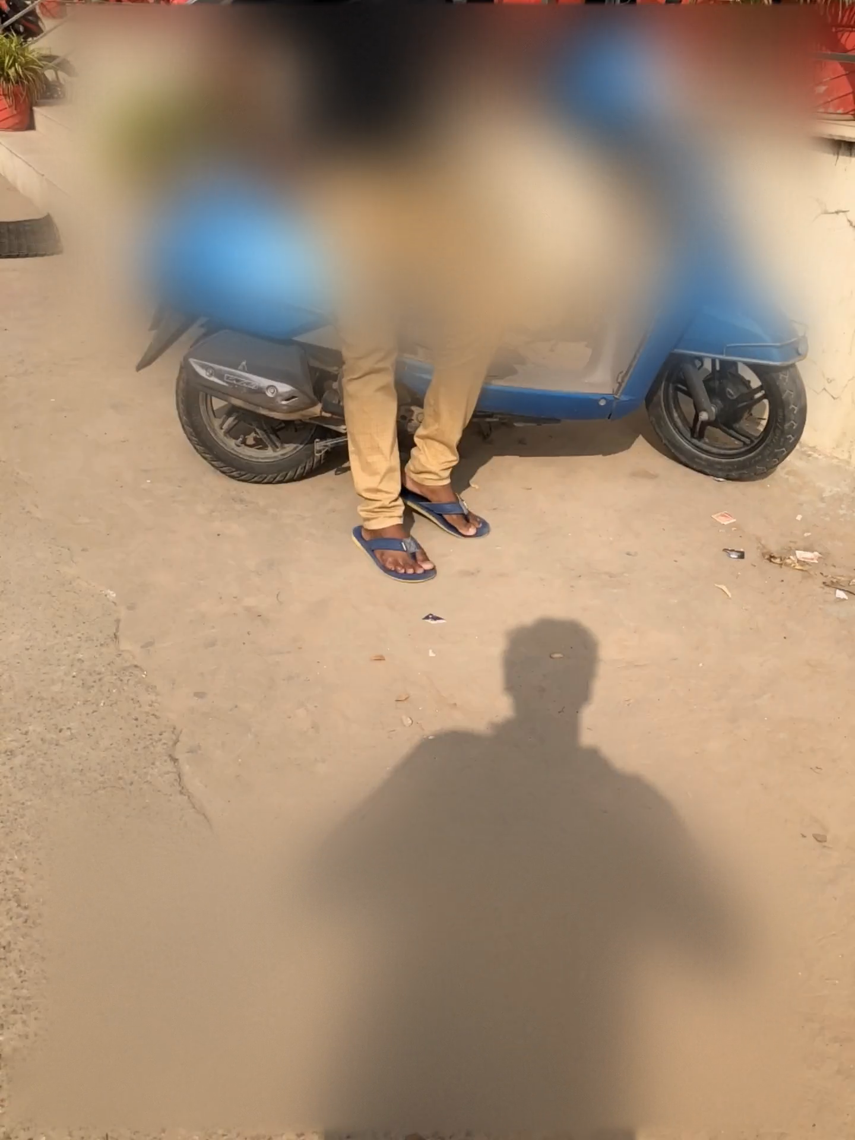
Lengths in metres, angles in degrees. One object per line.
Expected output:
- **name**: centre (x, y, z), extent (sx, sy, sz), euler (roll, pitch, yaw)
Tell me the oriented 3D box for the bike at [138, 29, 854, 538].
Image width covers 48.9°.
- **bike**: centre (0.167, -0.703, 2.280), extent (1.567, 1.021, 0.598), euler (3, 30, 5)
